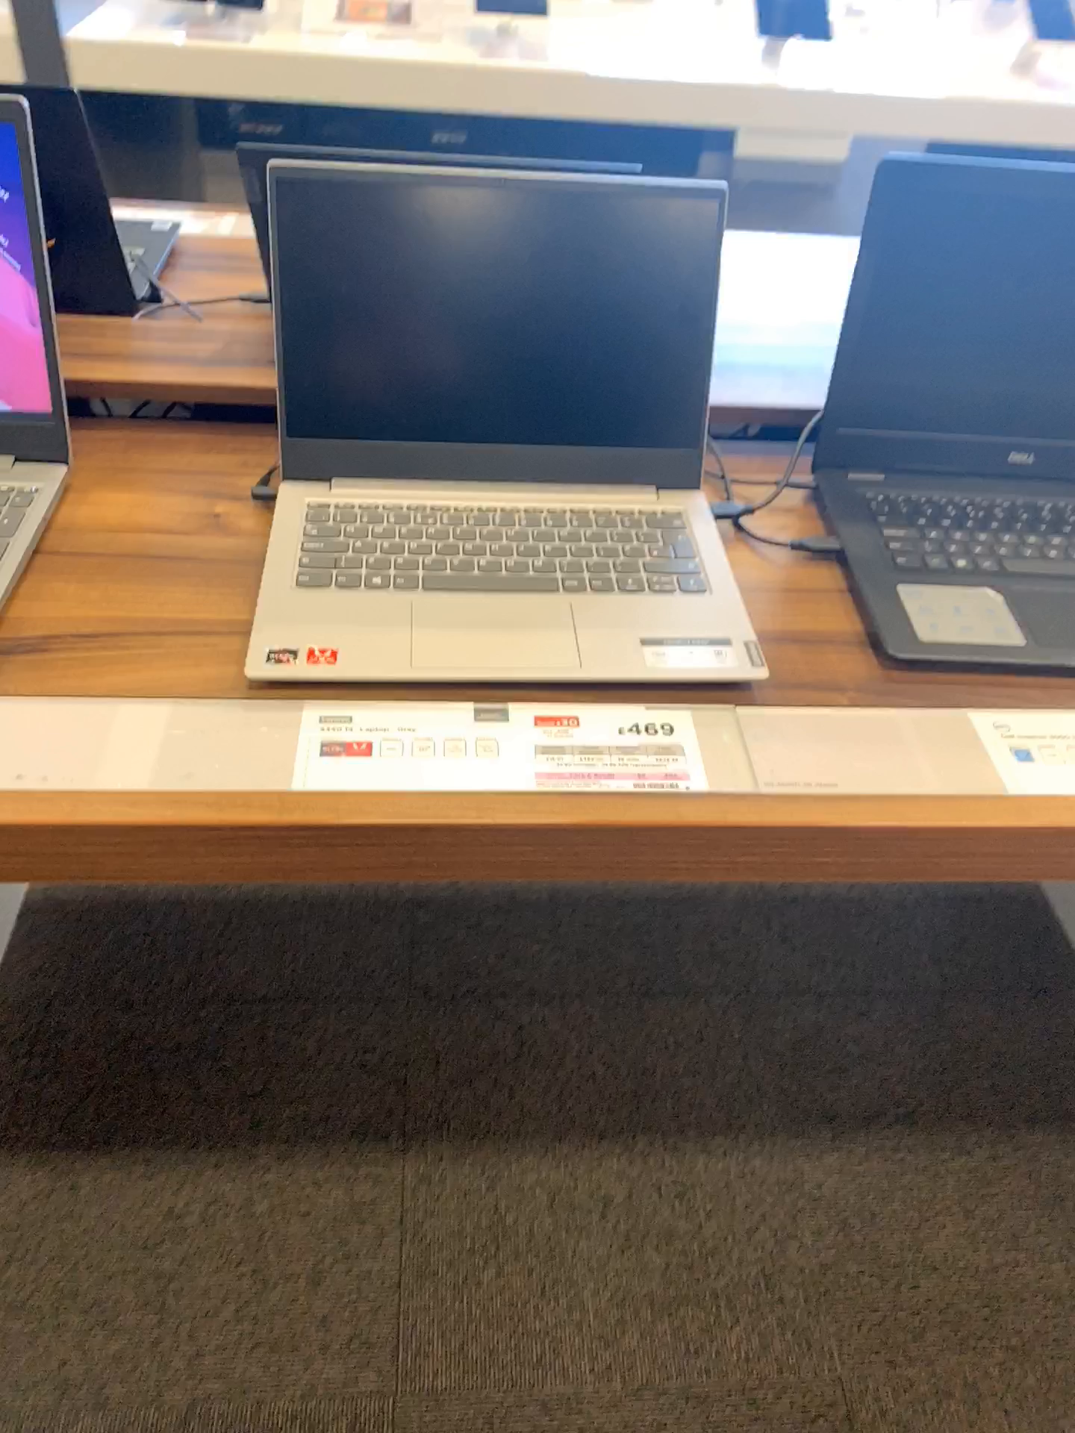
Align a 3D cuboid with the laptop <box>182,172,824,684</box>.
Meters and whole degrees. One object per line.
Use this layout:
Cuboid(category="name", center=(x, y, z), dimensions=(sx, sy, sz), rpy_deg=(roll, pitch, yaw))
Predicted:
Cuboid(category="laptop", center=(-0.031, -0.195, 0.717), dimensions=(0.316, 0.199, 0.296), rpy_deg=(0, 41, -5))
